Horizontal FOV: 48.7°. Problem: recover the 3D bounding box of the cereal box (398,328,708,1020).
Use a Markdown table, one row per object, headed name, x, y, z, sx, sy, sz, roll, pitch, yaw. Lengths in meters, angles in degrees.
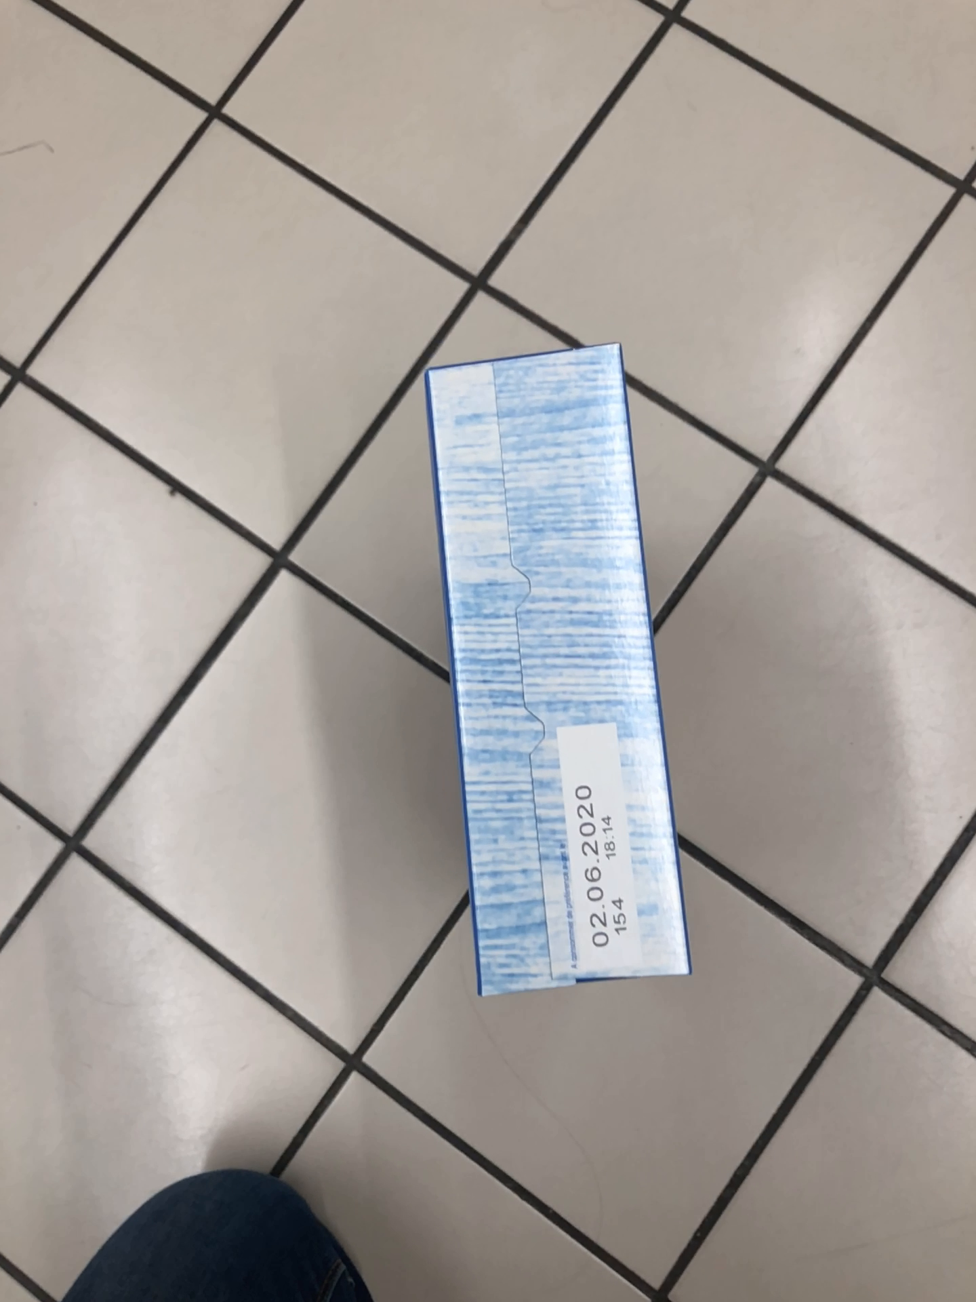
| name | x | y | z | sx | sy | sz | roll | pitch | yaw |
| --- | --- | --- | --- | --- | --- | --- | --- | --- | --- |
| cereal box | 0.029 | 0.021 | 0.464 | 0.070 | 0.290 | 0.200 | -7 | 82 | 4 |
